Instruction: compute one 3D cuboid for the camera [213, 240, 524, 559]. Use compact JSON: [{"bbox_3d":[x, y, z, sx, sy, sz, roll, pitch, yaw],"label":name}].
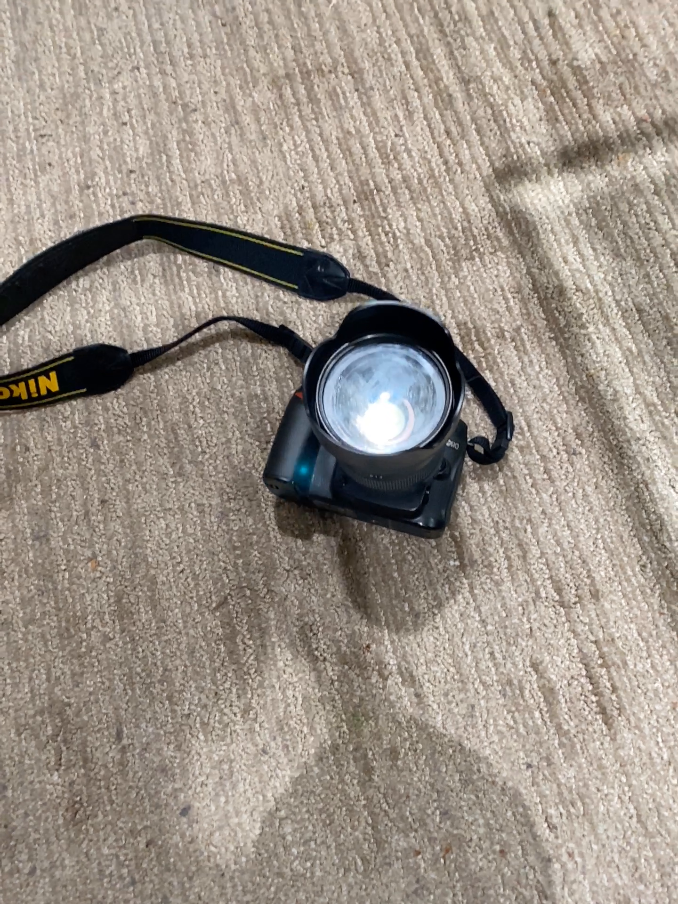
[{"bbox_3d":[0.021,-0.022,0.441,0.138,0.166,0.114,15,71,8],"label":"camera"}]
